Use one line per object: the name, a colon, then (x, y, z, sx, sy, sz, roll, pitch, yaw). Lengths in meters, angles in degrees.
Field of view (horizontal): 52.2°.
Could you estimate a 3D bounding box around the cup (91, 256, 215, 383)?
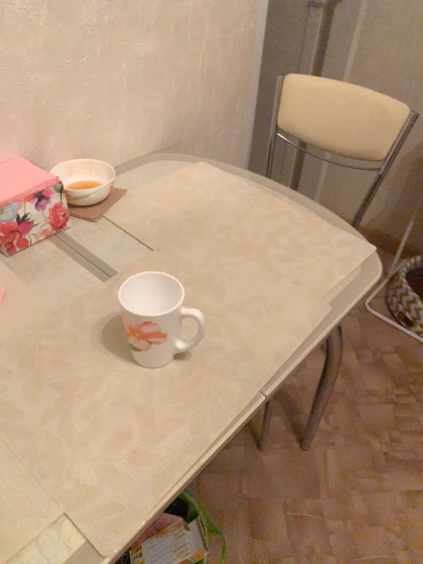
cup: (-0.067, 0.046, 0.532, 0.120, 0.109, 0.081, 11, 42, 9)
